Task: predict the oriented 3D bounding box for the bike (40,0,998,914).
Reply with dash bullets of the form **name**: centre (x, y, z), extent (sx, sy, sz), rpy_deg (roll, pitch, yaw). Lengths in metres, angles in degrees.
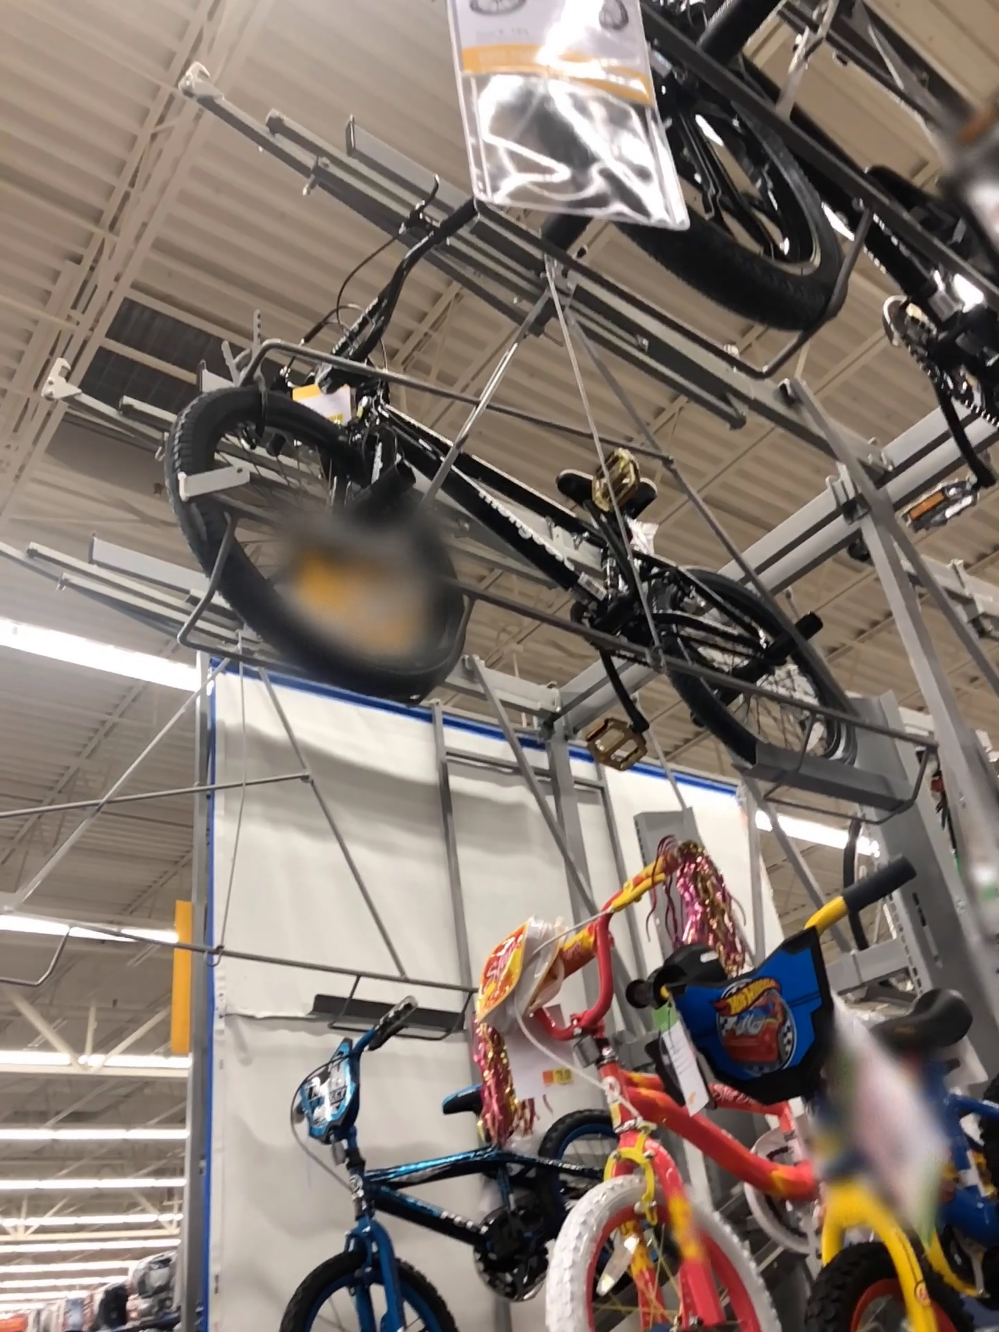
- **bike**: centre (0.064, -0.208, 1.881), extent (1.350, 0.910, 0.751), rpy_deg (16, -39, -34)
